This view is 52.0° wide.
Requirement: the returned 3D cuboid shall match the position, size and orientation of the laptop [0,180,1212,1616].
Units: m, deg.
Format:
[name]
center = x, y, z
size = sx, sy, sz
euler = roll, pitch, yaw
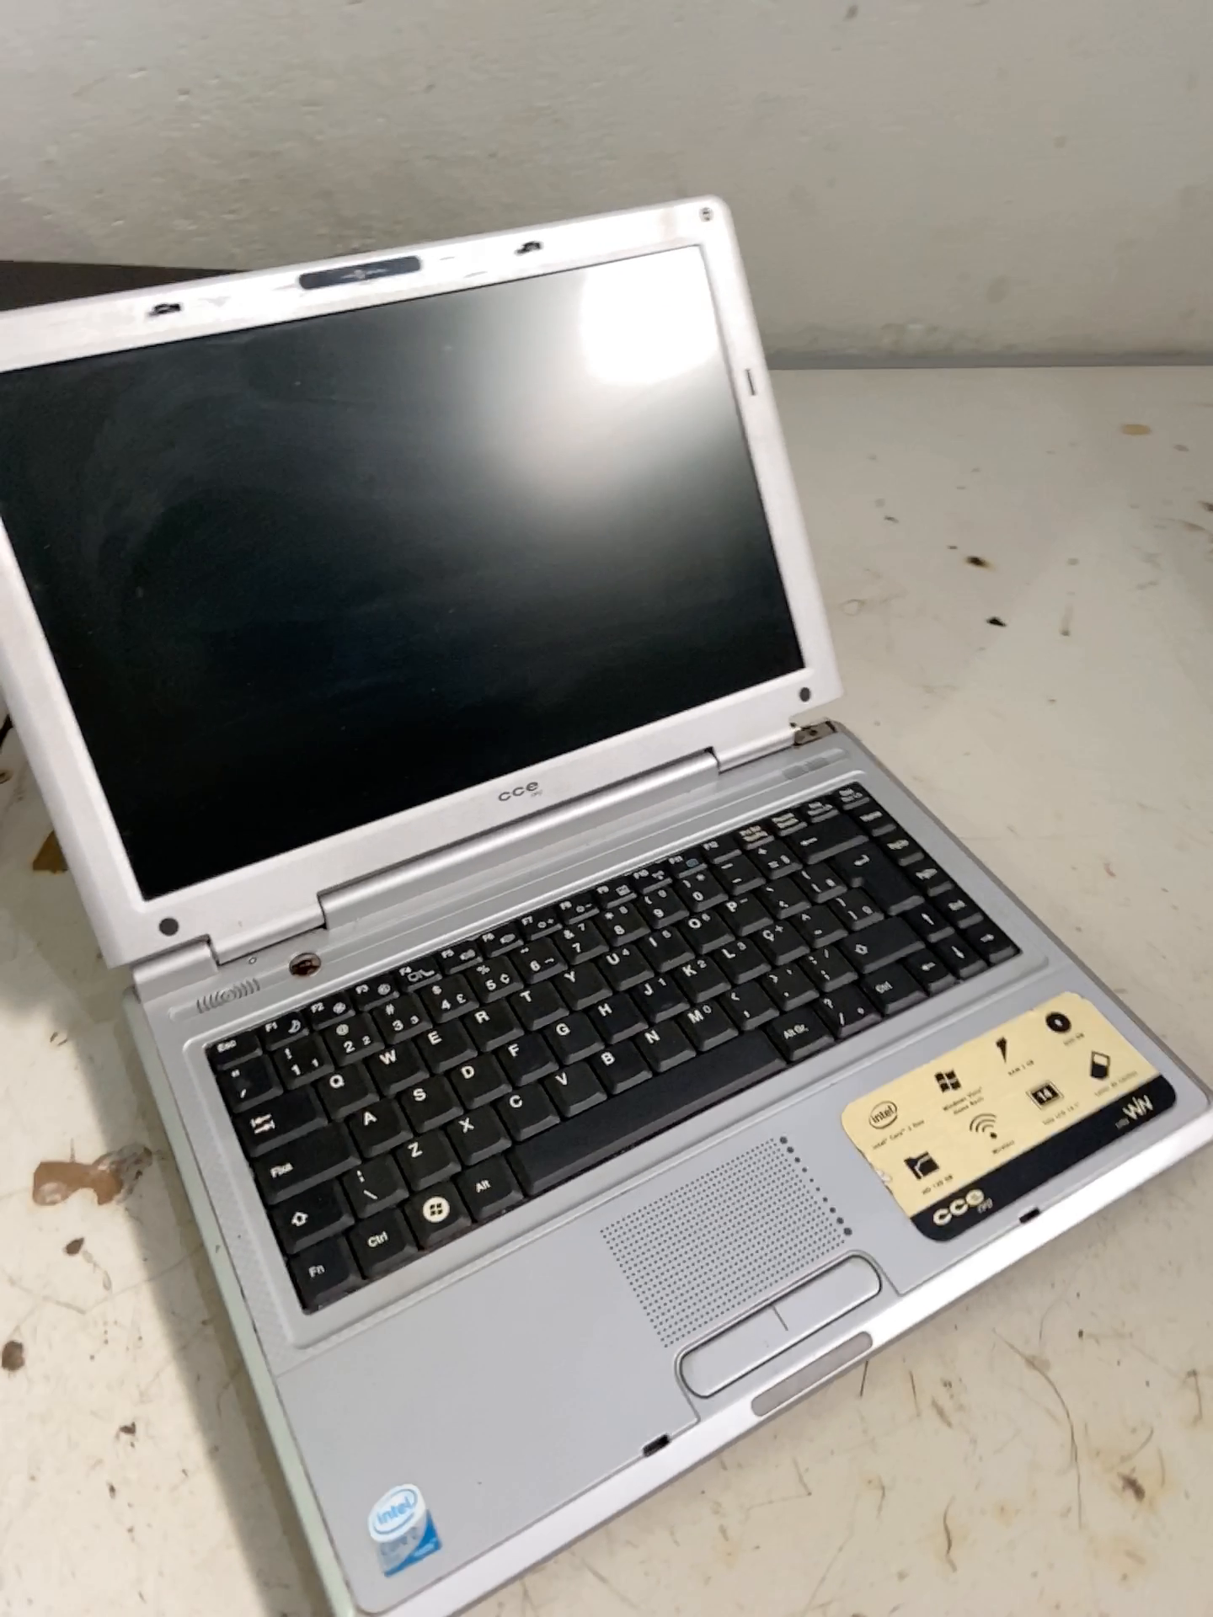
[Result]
[laptop]
center = -0.015, -0.023, 0.433
size = 0.339, 0.190, 0.388
euler = -21, 52, -22
